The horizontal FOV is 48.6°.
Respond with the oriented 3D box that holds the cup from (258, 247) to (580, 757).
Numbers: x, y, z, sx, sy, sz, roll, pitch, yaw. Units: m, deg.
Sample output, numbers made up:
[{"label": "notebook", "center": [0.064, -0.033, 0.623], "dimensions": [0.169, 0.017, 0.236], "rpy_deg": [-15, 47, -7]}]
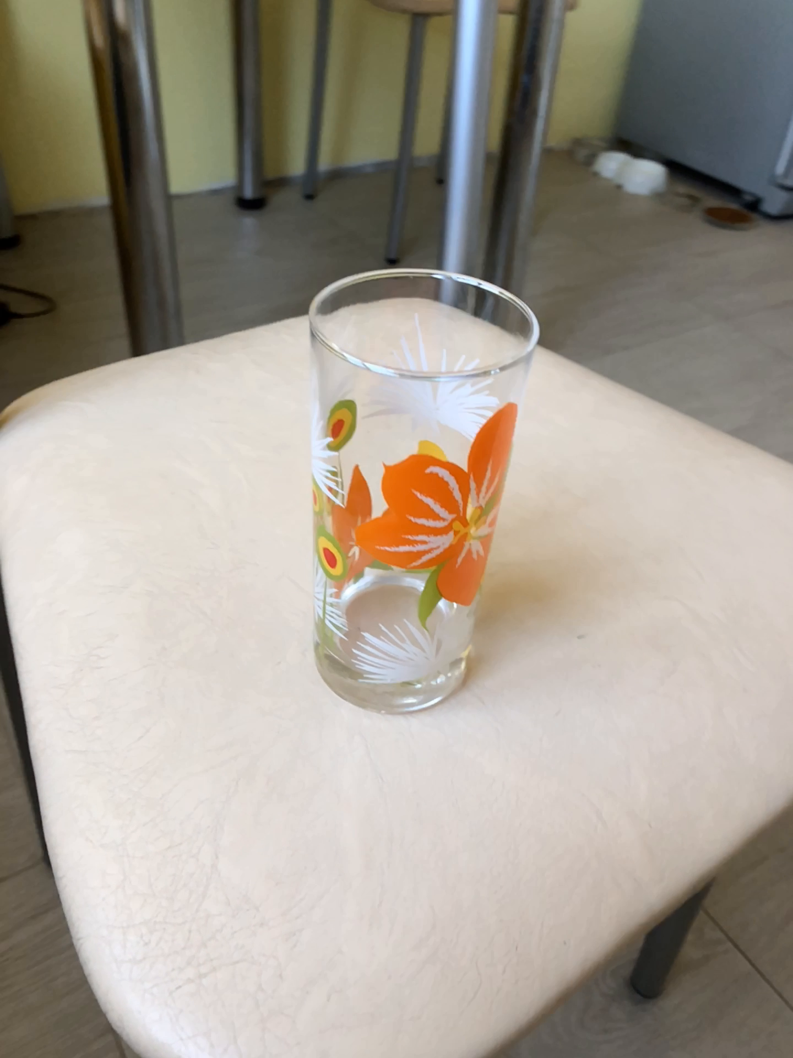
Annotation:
[{"label": "cup", "center": [0.003, -0.006, 0.273], "dimensions": [0.063, 0.133, 0.061], "rpy_deg": [3, 39, -3]}]
